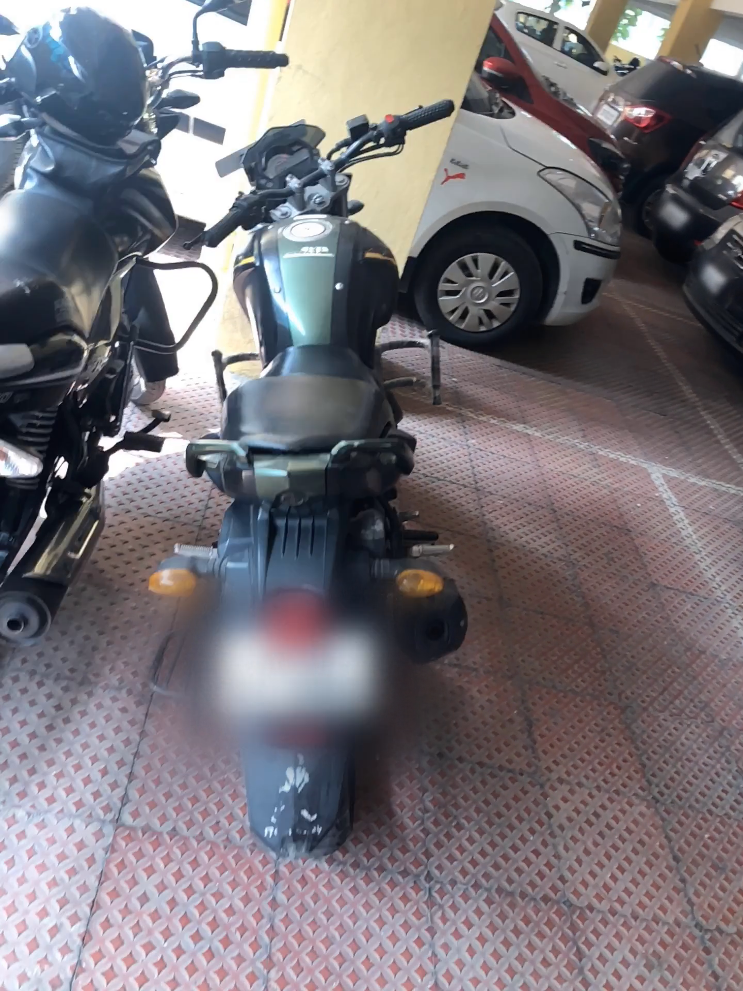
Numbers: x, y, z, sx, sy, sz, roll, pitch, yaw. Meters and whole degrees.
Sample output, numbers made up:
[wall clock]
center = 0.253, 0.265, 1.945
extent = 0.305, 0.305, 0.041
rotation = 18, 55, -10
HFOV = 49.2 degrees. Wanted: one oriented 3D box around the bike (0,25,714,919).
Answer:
[bike]
center = -0.288, -0.267, 1.801
extent = 0.739, 1.091, 1.816
rotation = 12, 31, -16
